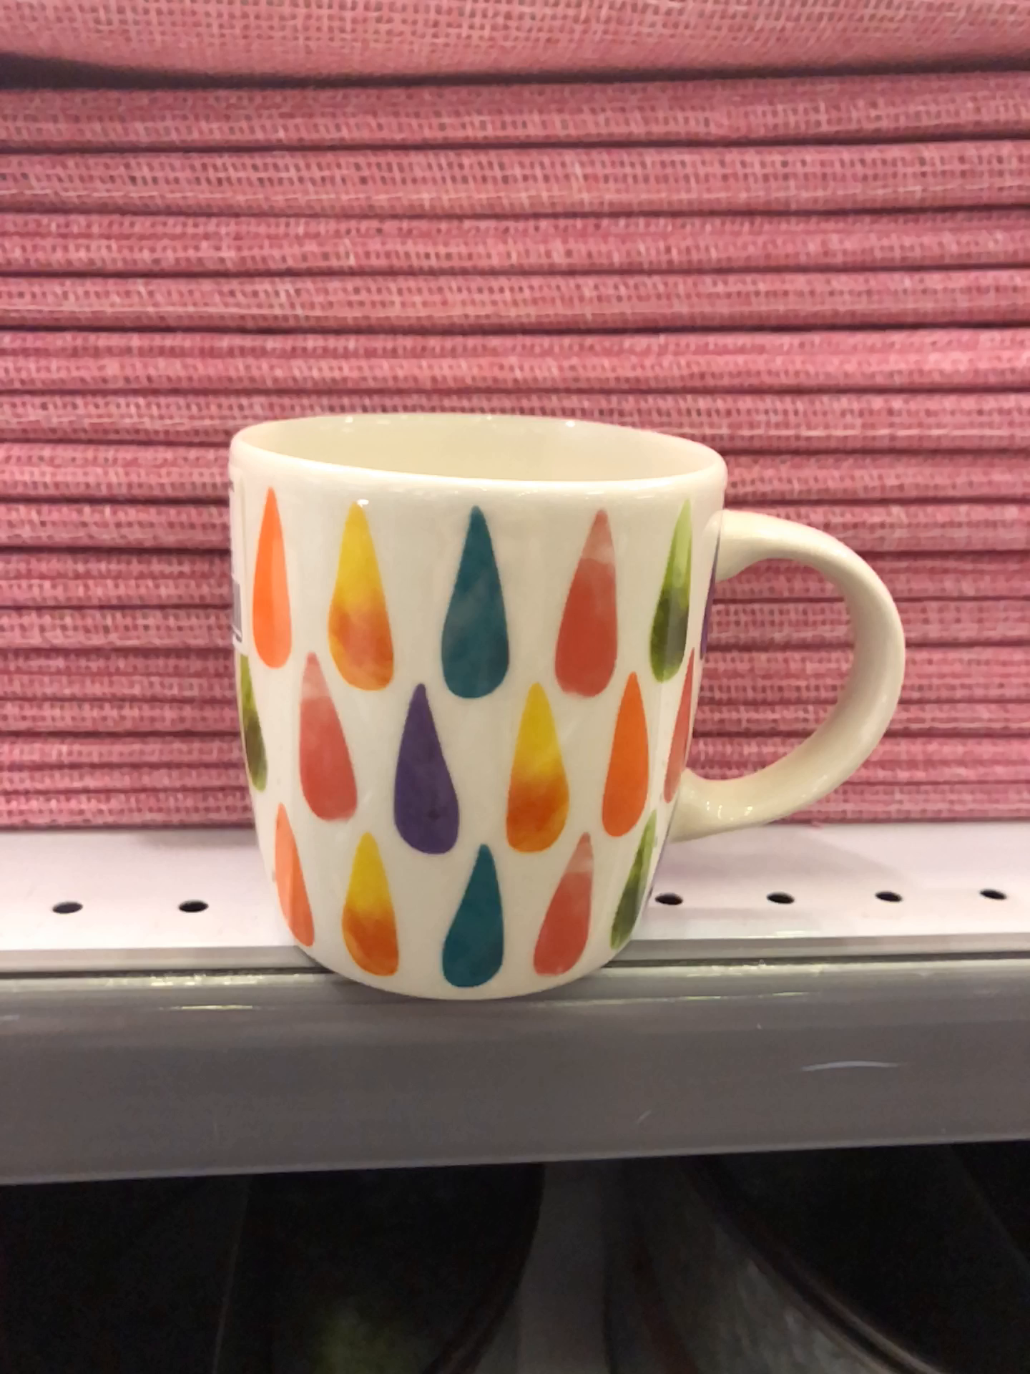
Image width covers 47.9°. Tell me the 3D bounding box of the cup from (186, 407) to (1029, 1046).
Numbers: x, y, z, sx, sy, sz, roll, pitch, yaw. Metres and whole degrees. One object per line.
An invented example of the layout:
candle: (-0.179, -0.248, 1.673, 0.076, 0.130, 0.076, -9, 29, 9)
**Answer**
cup: (0.012, 0.000, 0.220, 0.130, 0.089, 0.091, 0, 18, -8)
